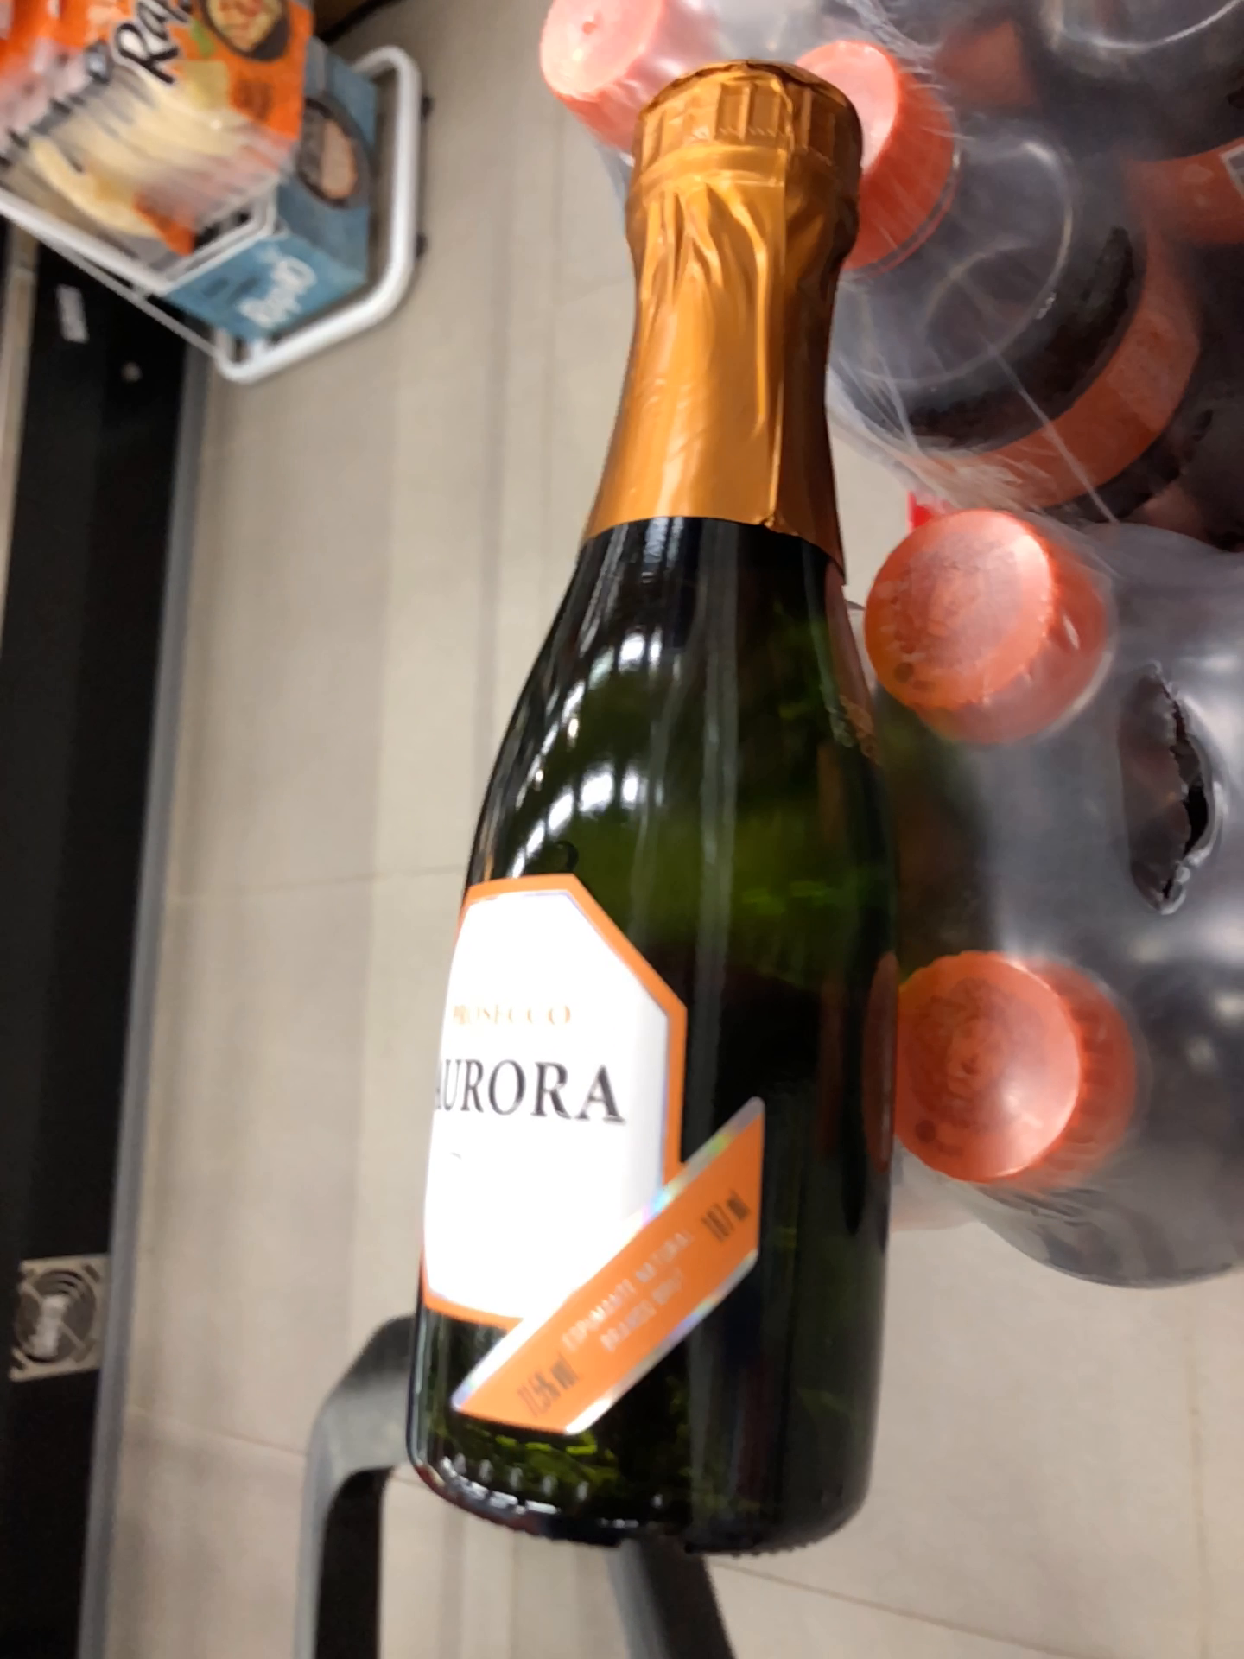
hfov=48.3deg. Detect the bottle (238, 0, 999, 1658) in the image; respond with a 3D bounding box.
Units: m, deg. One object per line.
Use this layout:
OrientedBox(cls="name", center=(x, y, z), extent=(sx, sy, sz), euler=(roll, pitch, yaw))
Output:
OrientedBox(cls="bottle", center=(0.003, -0.011, 0.167), extent=(0.060, 0.050, 0.180), euler=(-1, 81, 37))
